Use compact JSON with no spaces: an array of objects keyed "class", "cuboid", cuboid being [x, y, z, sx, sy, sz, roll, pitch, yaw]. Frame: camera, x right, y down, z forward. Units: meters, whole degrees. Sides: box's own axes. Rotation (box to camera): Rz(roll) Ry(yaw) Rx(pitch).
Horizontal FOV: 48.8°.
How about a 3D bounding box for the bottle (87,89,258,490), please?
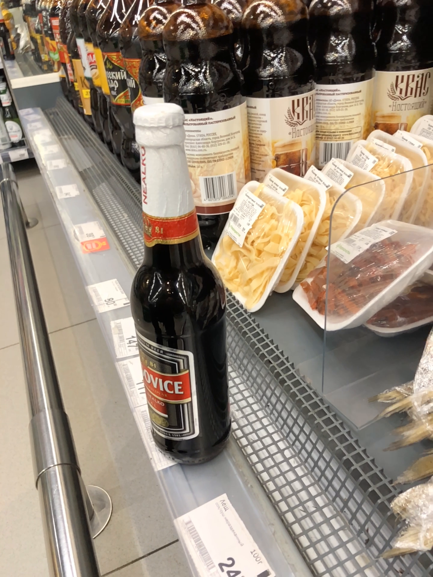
[{"class":"bottle","cuboid":[-0.020,0.014,0.331,0.070,0.268,0.070,-3,32,2]}]
